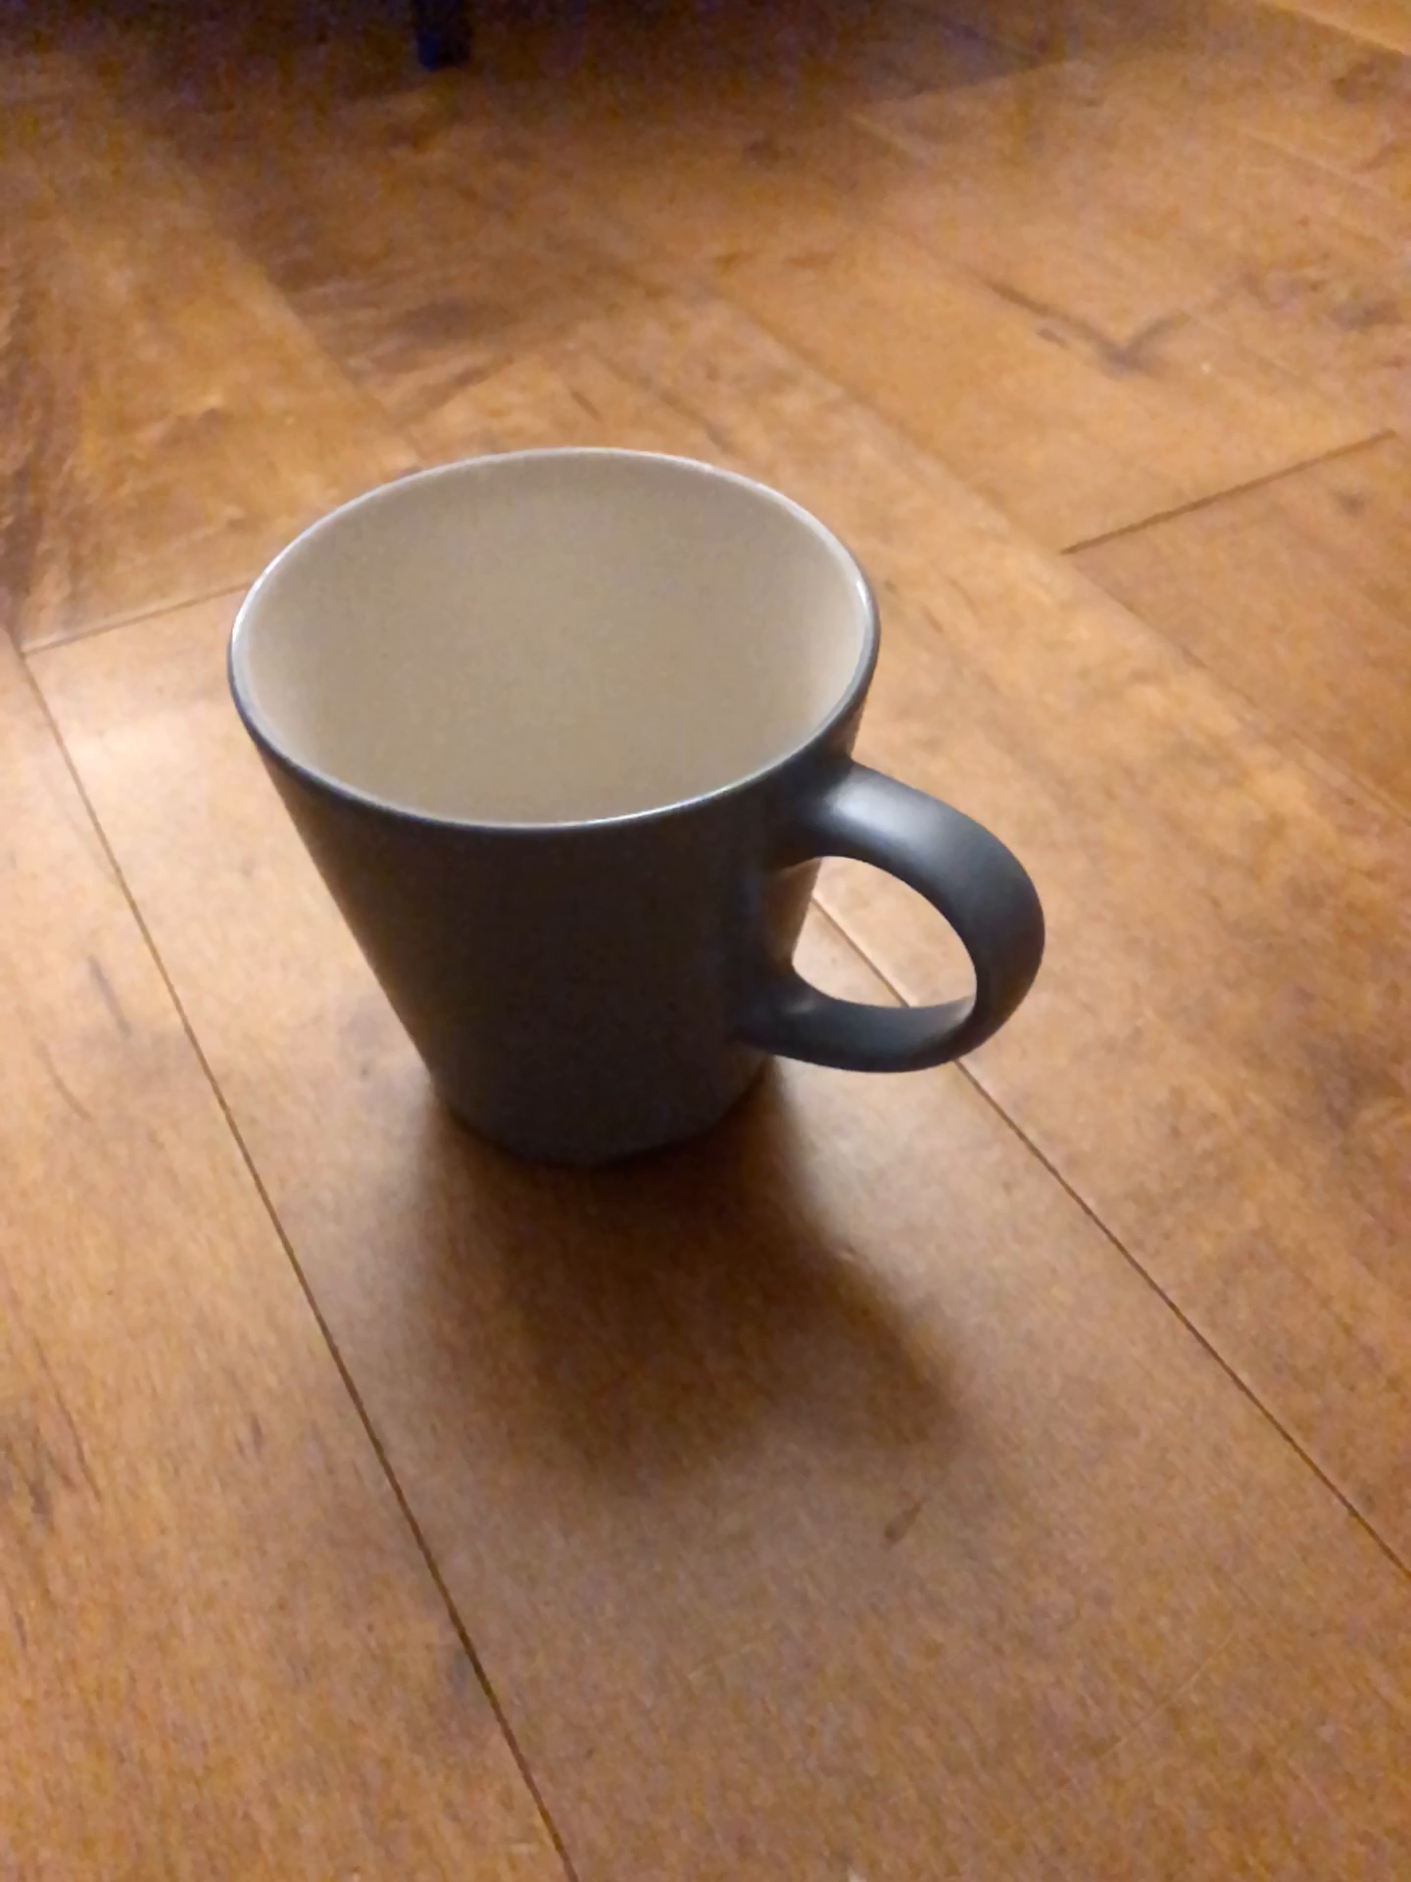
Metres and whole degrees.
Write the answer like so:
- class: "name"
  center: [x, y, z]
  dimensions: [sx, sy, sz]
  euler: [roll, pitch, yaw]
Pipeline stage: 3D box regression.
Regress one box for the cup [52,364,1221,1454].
- class: "cup"
  center: [-0.010, -0.013, 0.267]
  dimensions: [0.140, 0.099, 0.100]
  euler: [26, 52, 24]
